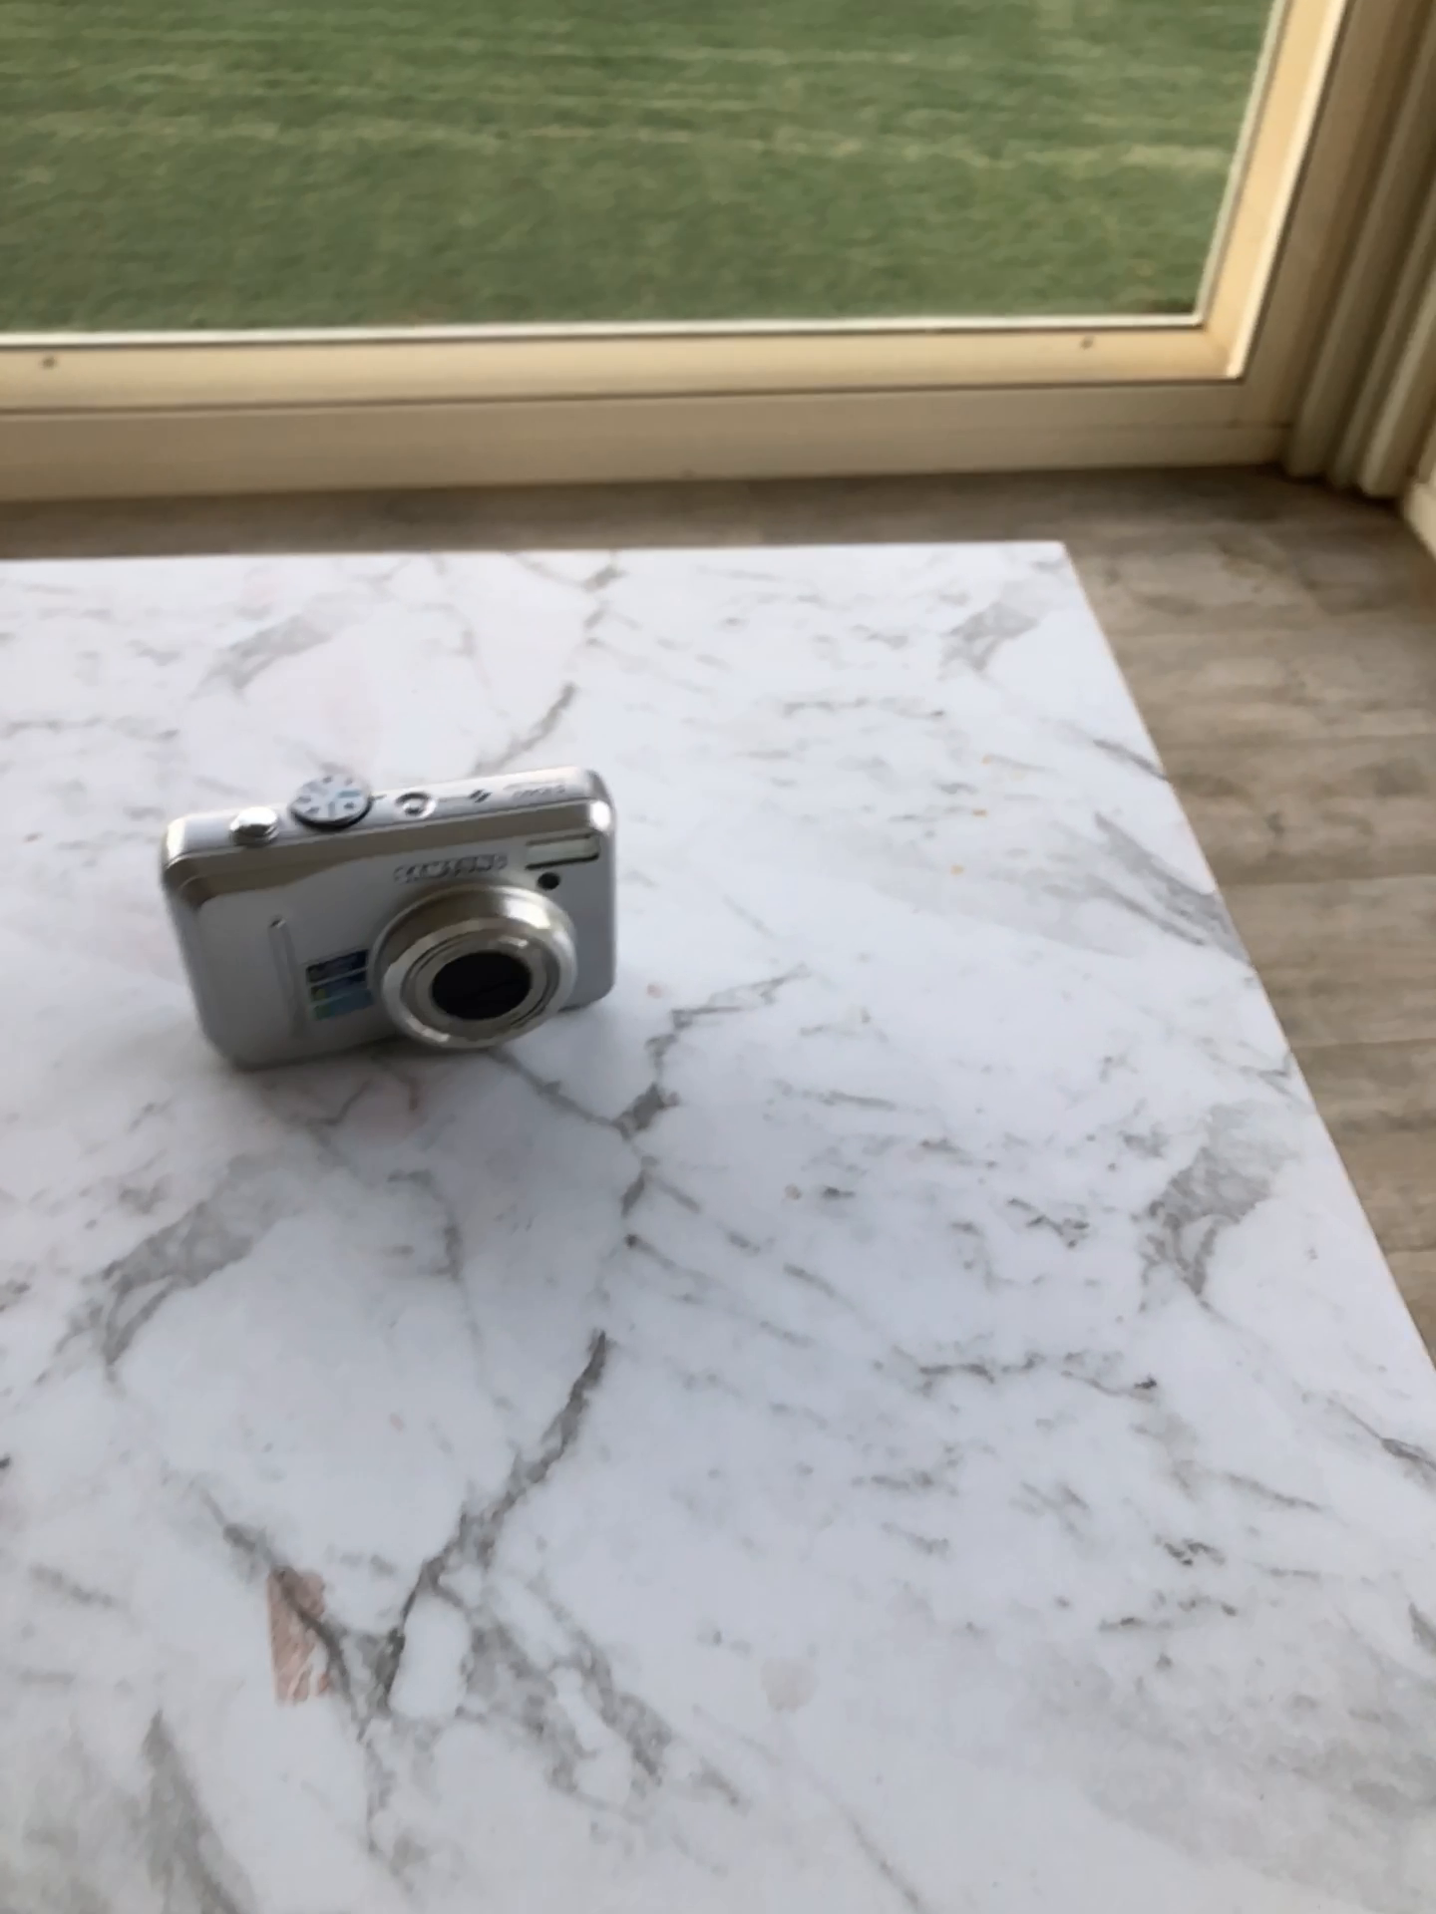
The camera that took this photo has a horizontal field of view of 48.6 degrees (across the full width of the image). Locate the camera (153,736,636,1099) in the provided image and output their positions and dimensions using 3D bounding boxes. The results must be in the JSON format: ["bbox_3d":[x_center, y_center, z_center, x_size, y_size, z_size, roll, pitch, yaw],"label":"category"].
[{"bbox_3d":[-0.071,-0.009,0.365,0.099,0.061,0.034,-10,47,-12],"label":"camera"}]
